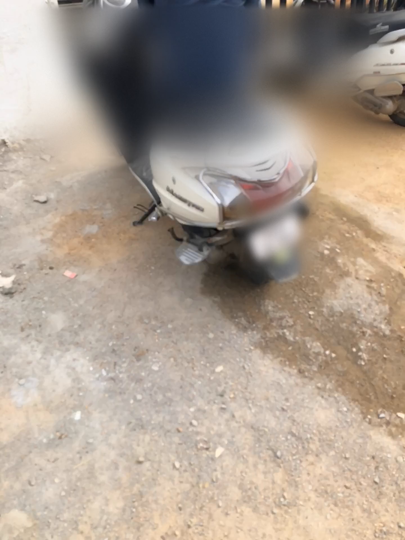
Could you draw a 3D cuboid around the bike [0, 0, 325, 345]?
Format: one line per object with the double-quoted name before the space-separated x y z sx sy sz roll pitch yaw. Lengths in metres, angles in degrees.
"bike" -0.305 -0.747 1.978 0.601 1.231 1.559 -22 43 -25
